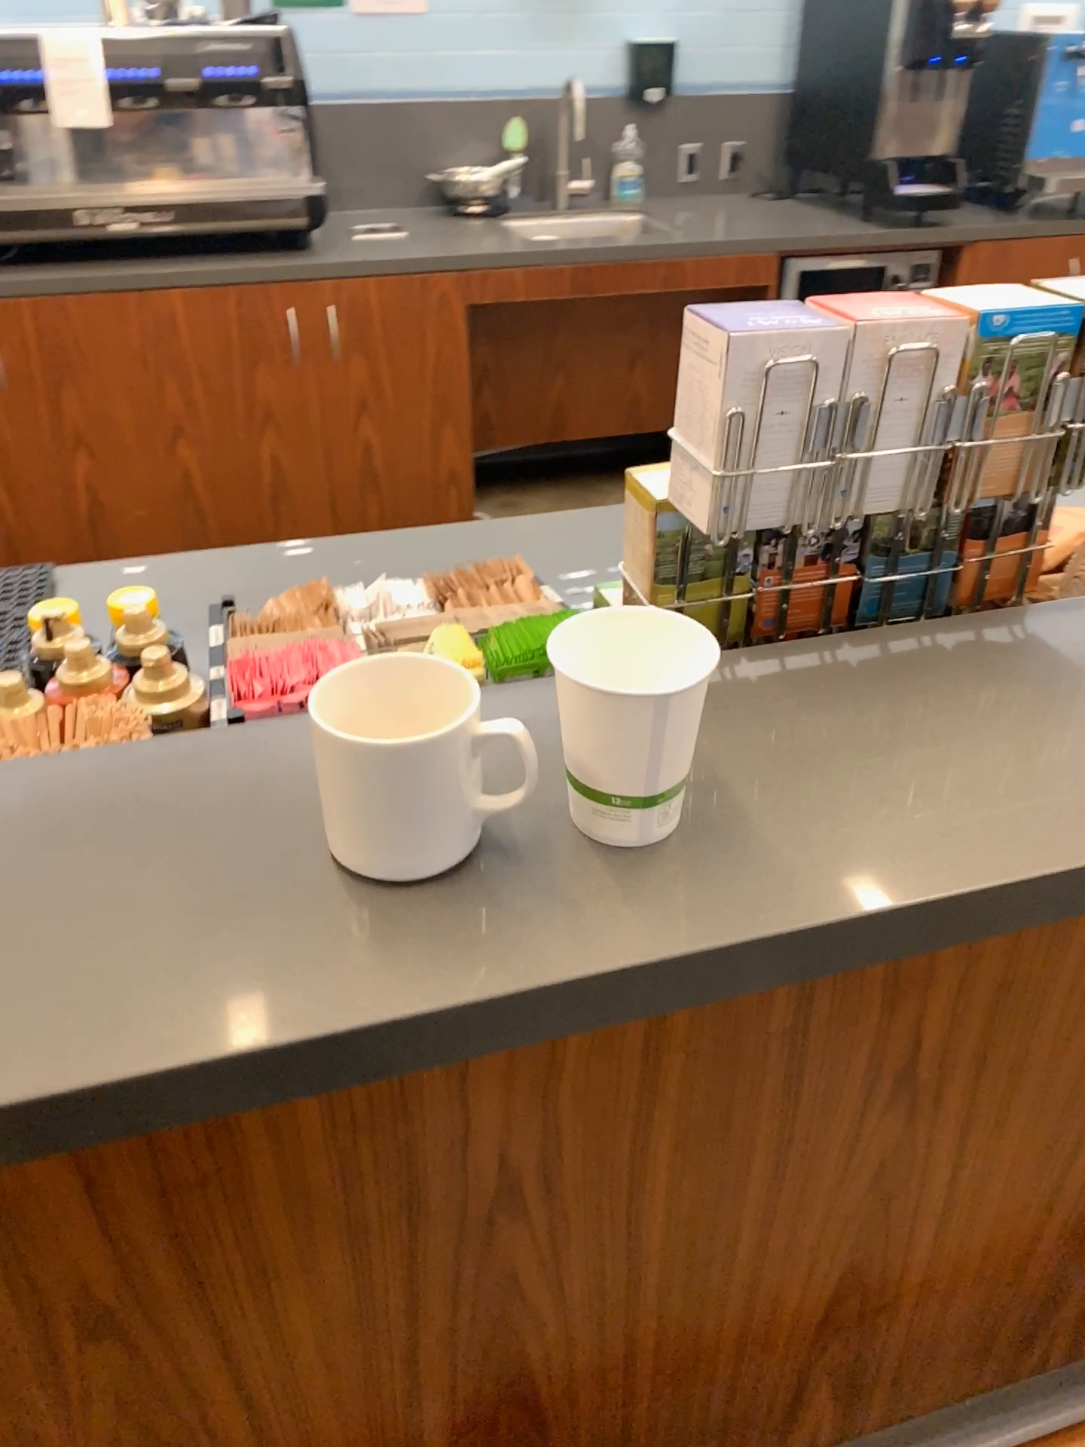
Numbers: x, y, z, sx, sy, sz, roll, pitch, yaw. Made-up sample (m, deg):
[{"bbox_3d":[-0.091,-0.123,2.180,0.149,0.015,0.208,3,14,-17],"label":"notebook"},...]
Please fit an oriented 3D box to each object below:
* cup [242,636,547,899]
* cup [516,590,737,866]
[{"bbox_3d":[-0.065,0.020,0.550,0.130,0.089,0.091,2,33,3],"label":"cup"},{"bbox_3d":[0.042,0.001,0.602,0.090,0.109,0.080,-10,35,-15],"label":"cup"}]
